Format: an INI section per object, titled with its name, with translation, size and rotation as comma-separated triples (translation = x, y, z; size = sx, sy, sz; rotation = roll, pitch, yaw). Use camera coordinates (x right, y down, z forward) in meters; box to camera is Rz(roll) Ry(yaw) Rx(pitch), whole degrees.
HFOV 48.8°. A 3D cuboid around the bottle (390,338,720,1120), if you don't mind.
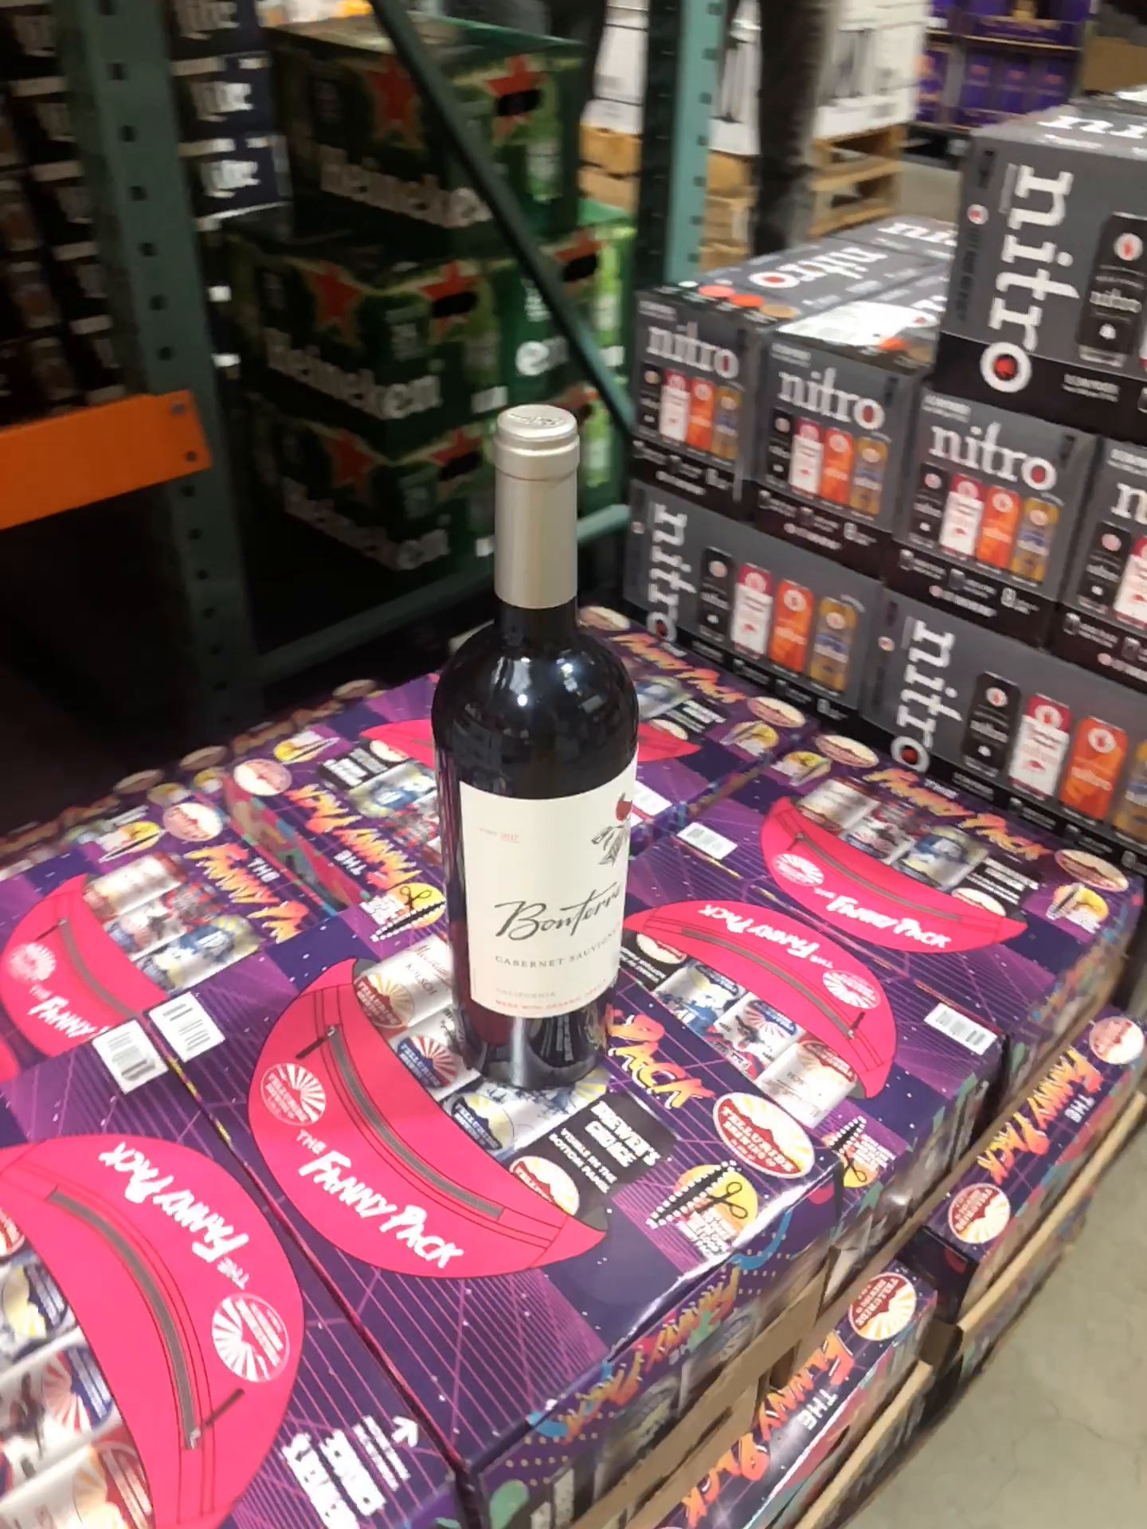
[bottle]
translation = -0.011, 0.000, 0.495
size = 0.080, 0.298, 0.080
rotation = 1, 36, -1
